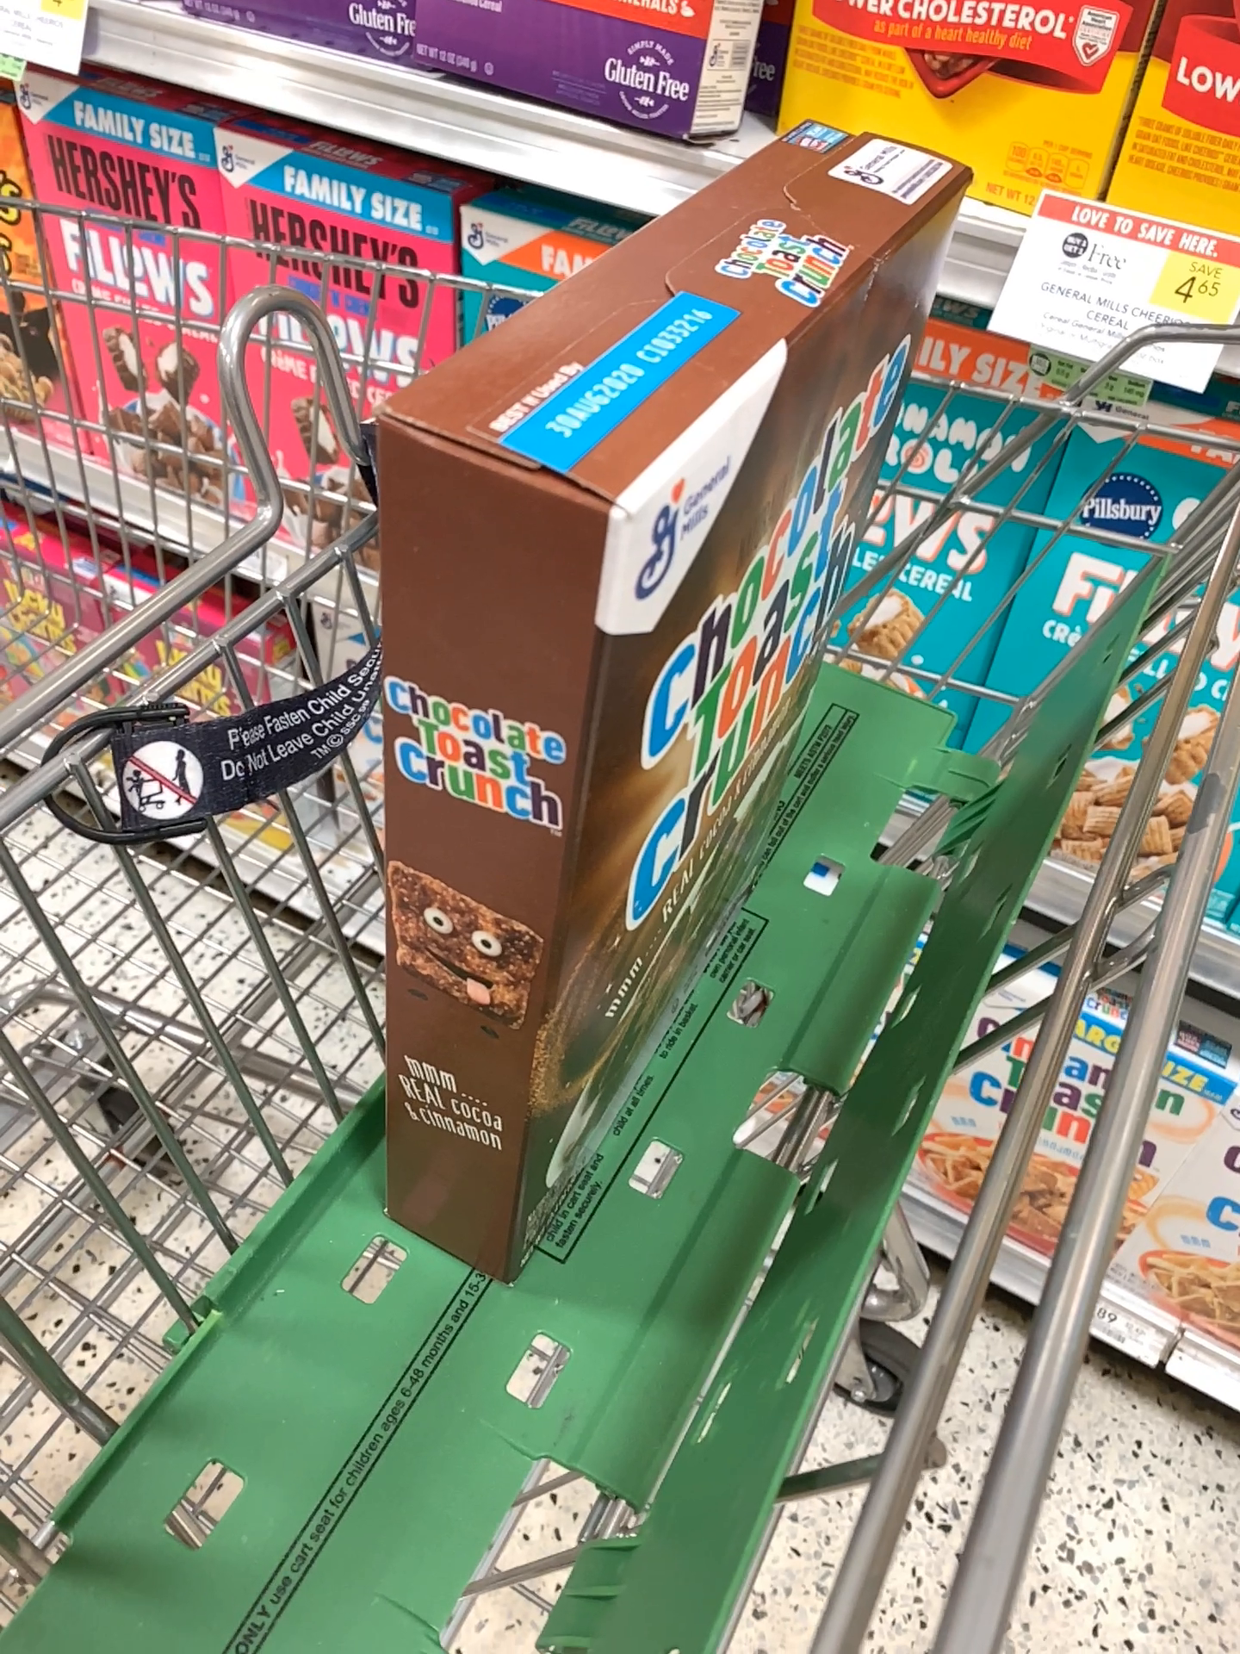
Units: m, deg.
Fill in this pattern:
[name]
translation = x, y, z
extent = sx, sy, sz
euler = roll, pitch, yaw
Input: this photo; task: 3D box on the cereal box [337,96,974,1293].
[cereal box]
translation = 0.006, -0.025, 0.362
extent = 0.050, 0.277, 0.202
euler = 24, 47, 14
